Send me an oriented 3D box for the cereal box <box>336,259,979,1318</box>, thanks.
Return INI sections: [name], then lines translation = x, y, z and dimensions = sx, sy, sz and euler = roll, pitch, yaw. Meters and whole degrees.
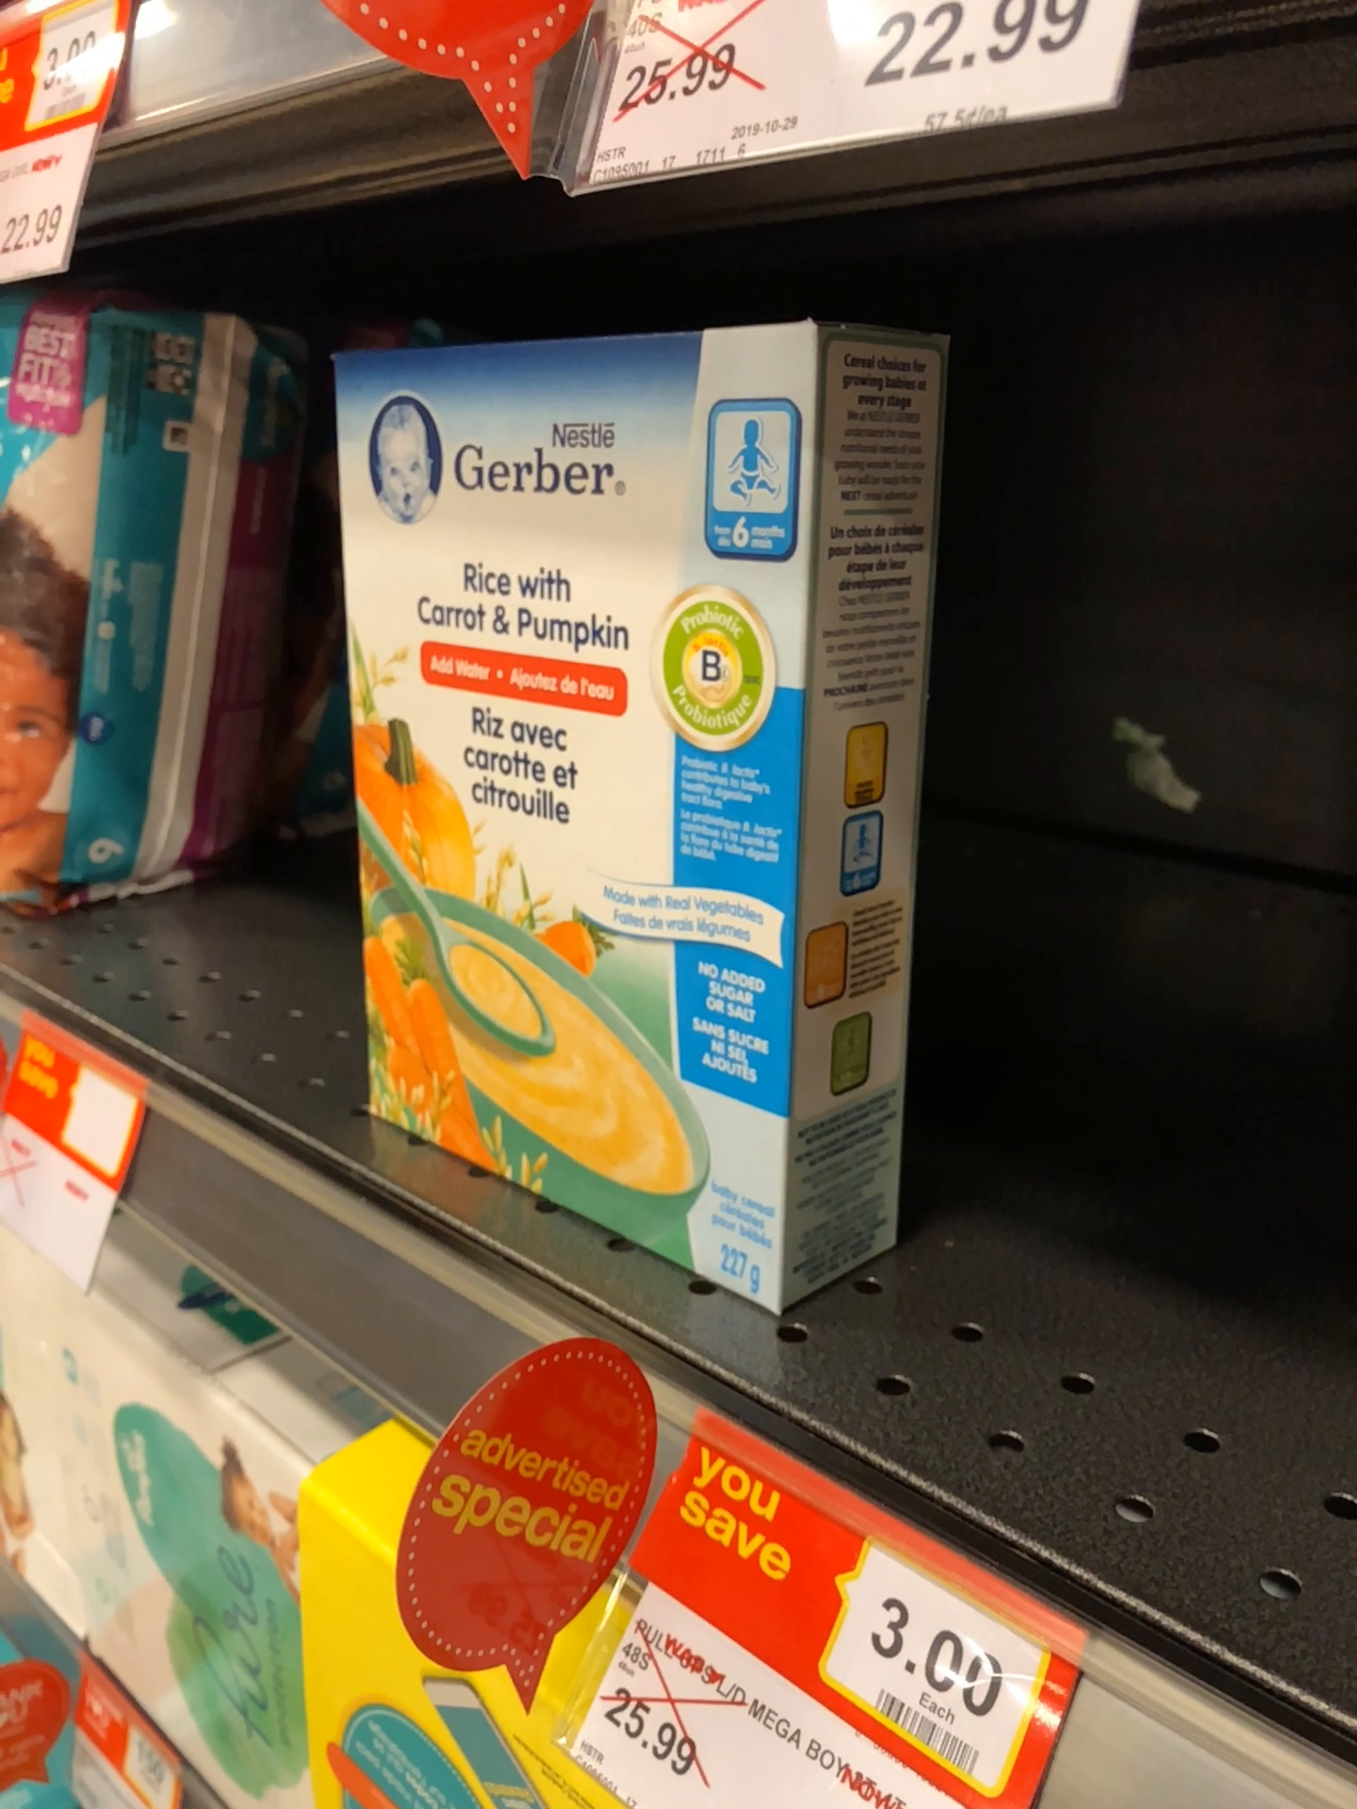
[cereal box]
translation = -0.013, -0.031, 0.345
dimensions = 0.150, 0.199, 0.040
euler = 15, 22, 42
